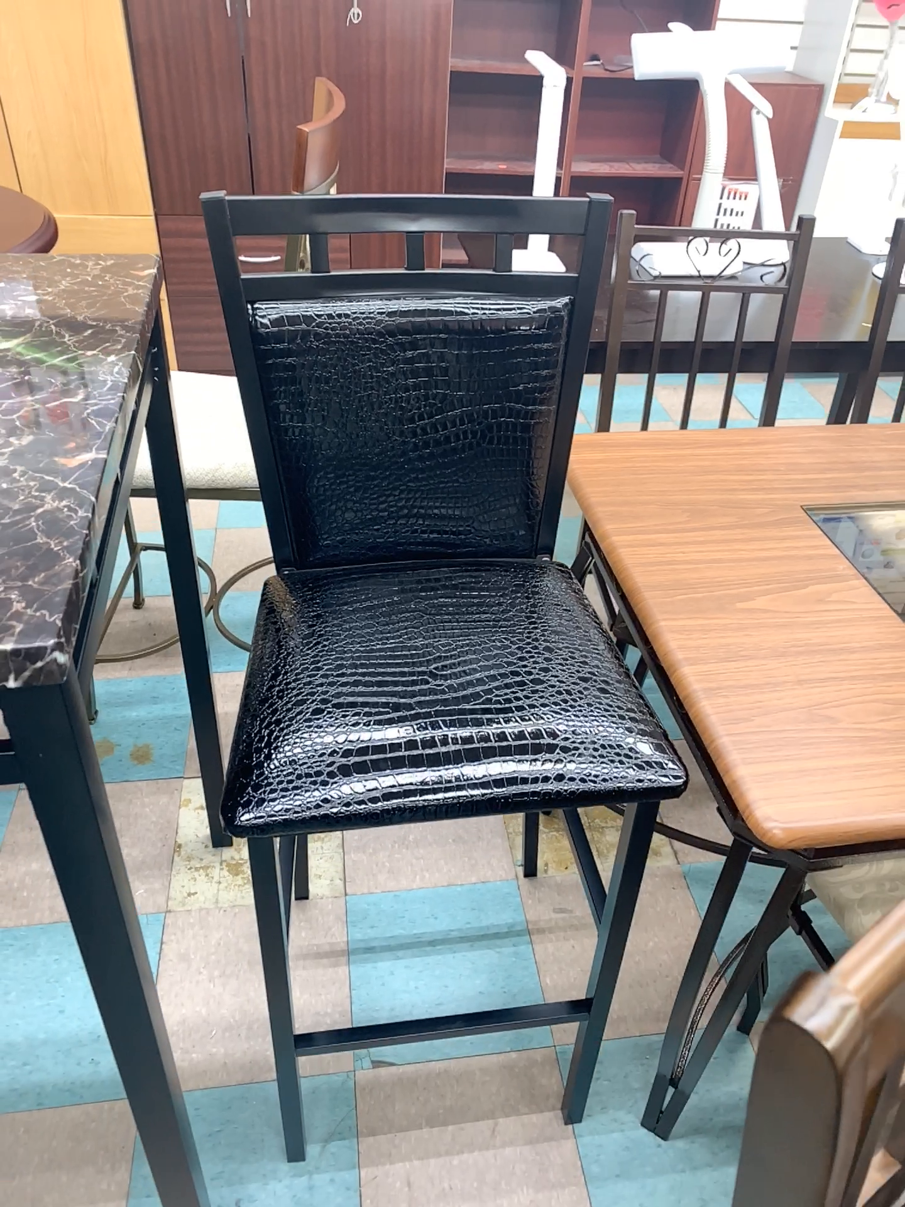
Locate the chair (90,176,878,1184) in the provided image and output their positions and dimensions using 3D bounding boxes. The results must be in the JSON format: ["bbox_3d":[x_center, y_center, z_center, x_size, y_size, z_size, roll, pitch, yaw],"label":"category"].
[{"bbox_3d":[-0.014,0.146,0.983,0.444,1.025,0.419,-3,37,-7],"label":"chair"}]
